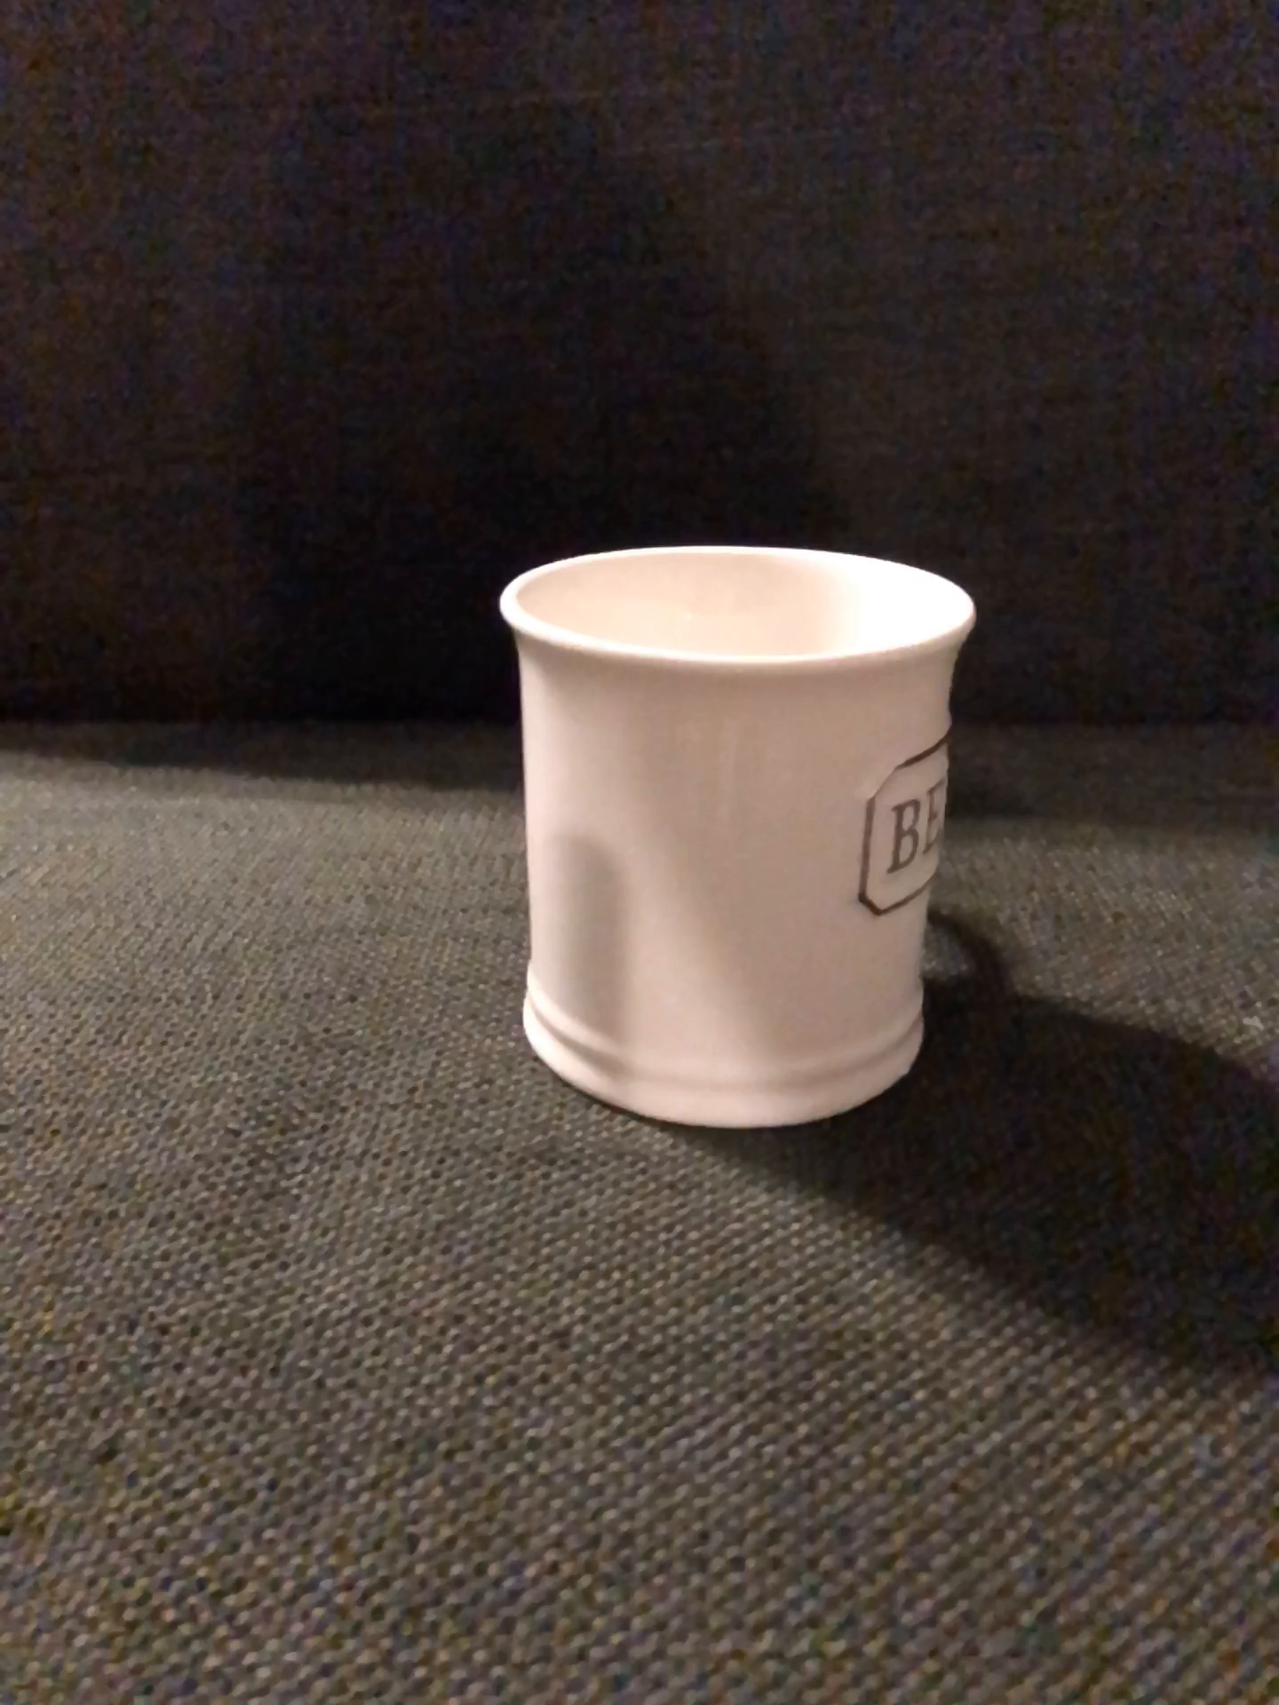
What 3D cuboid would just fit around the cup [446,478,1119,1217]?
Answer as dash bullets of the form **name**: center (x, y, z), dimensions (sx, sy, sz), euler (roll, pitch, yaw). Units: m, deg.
- **cup**: center (0.016, -0.013, 0.294), dimensions (0.100, 0.100, 0.141), euler (-2, 25, -4)
